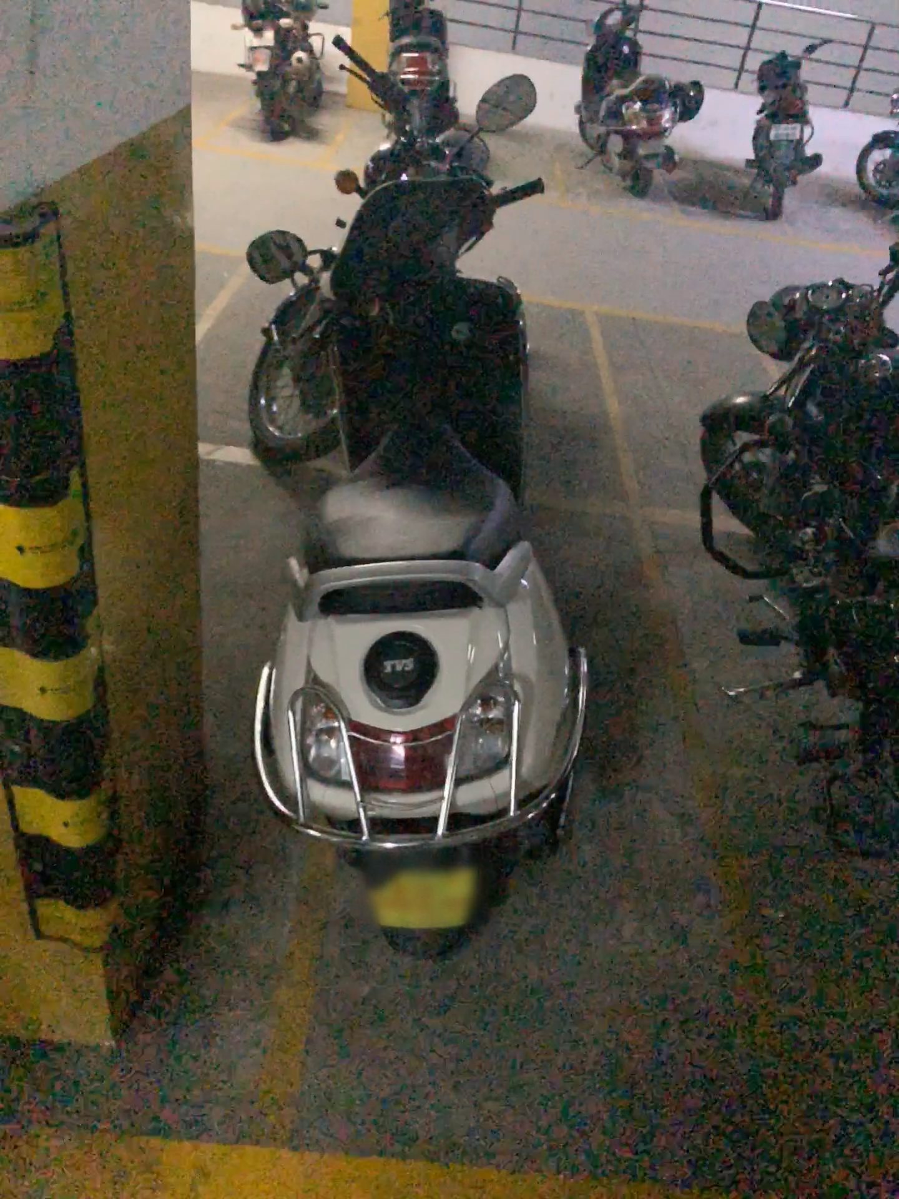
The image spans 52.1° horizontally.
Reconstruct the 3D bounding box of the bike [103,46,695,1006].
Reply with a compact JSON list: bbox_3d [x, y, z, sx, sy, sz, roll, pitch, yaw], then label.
[{"bbox_3d":[-0.129,-0.267,1.913,0.647,1.158,1.539,6,39,-5],"label":"bike"}]
